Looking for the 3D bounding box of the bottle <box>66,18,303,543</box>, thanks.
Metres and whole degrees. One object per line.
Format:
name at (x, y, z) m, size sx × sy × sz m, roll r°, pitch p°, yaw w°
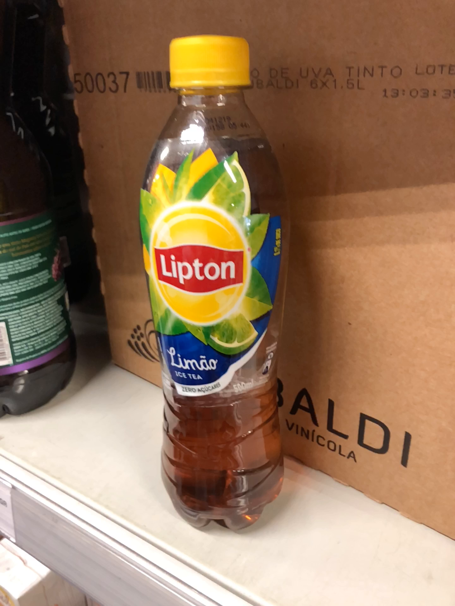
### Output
bottle at (-0.006, 0.000, 0.231) m, size 0.070 × 0.218 × 0.060 m, roll 4°, pitch 26°, yaw 15°
